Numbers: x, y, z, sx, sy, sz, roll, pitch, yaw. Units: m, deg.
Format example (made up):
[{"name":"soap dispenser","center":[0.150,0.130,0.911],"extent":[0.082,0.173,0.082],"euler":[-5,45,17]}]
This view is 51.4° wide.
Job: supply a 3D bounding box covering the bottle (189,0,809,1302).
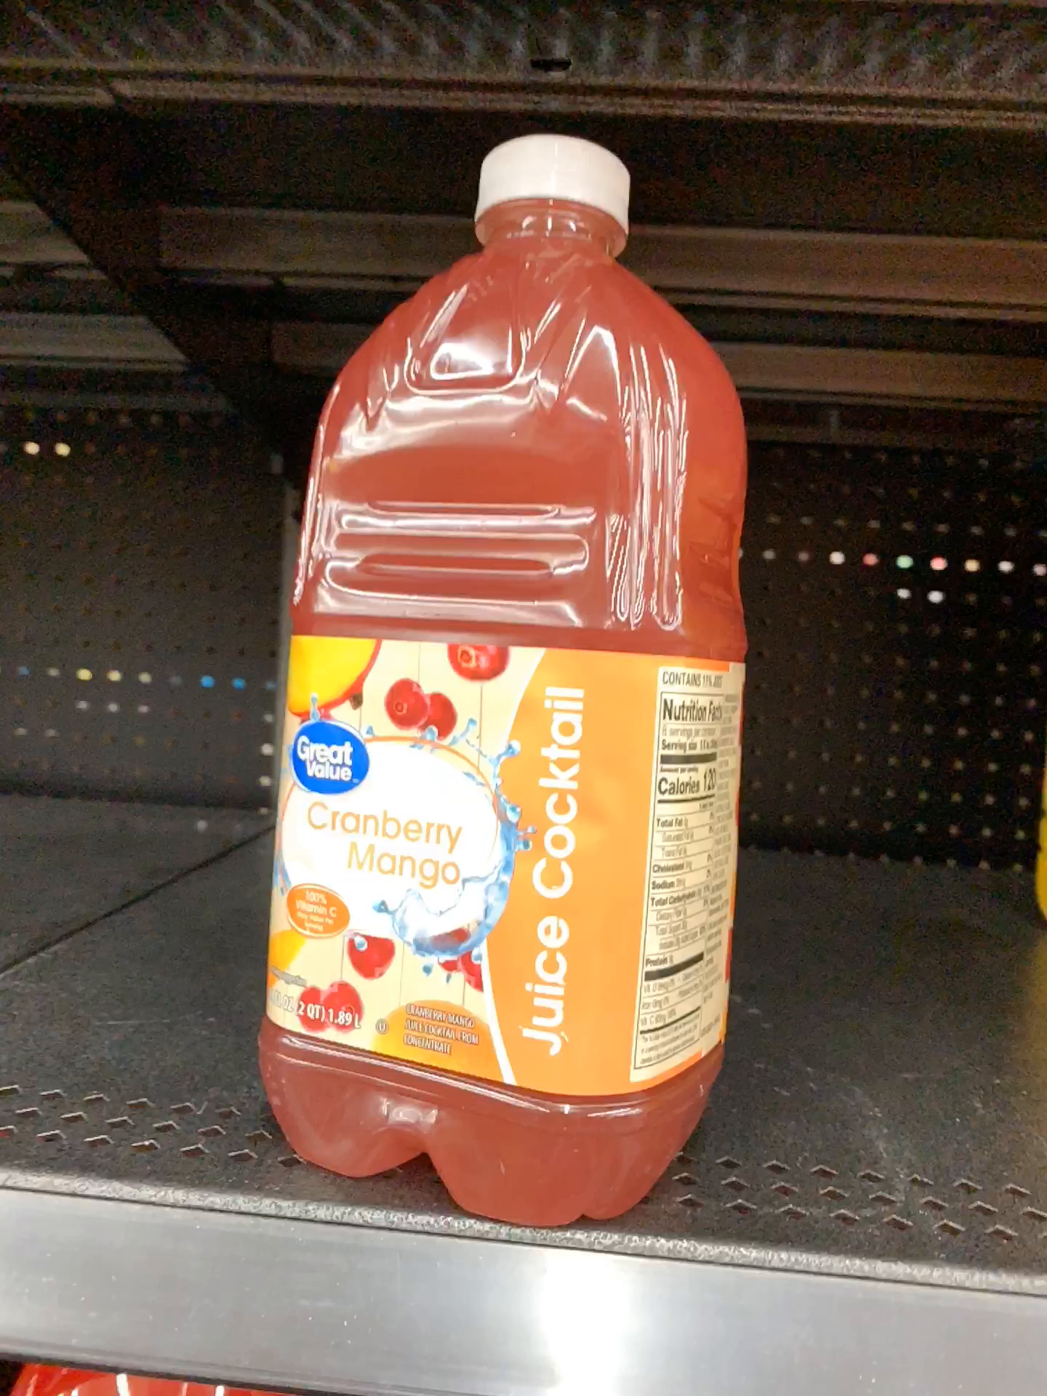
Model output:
[{"name":"bottle","center":[-0.003,-0.016,0.293],"extent":[0.119,0.273,0.101],"euler":[5,3,26]}]
